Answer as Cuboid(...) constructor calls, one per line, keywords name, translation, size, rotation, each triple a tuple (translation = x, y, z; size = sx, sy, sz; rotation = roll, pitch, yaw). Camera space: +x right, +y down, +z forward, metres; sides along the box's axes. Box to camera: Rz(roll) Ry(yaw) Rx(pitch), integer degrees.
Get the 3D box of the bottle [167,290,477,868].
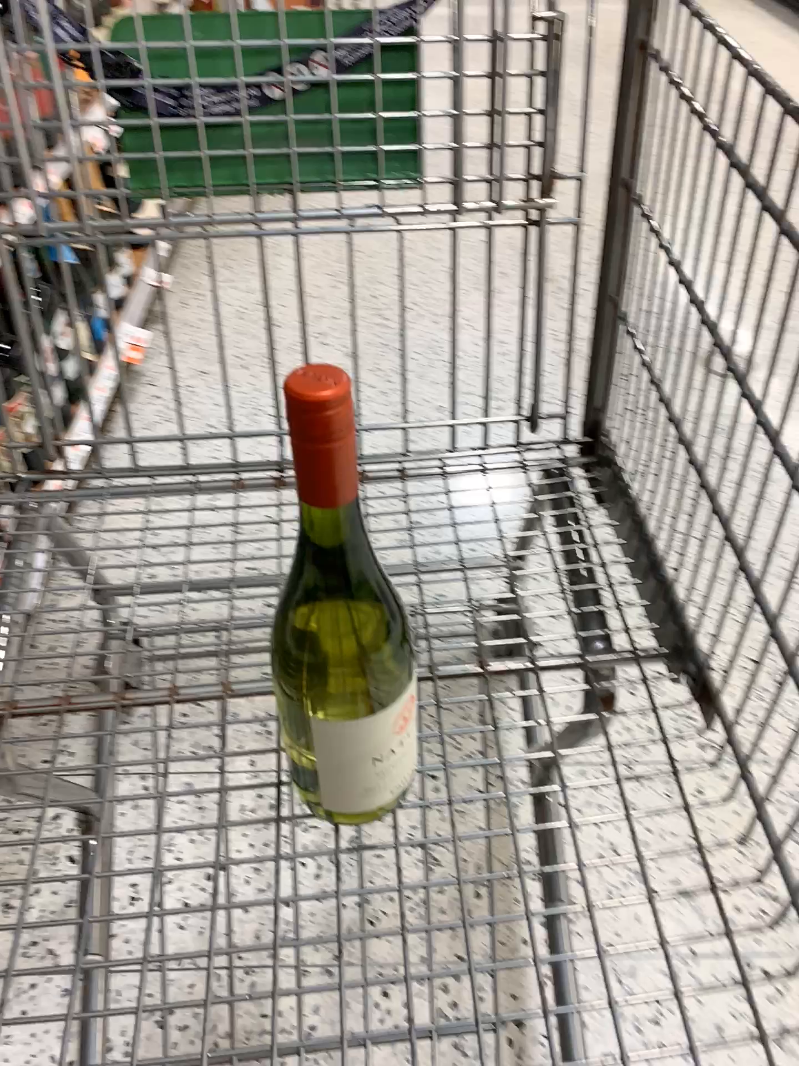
Cuboid(name="bottle", translation=(-0.029, 0.043, 0.416), size=(0.080, 0.297, 0.091), rotation=(28, 49, 26))
